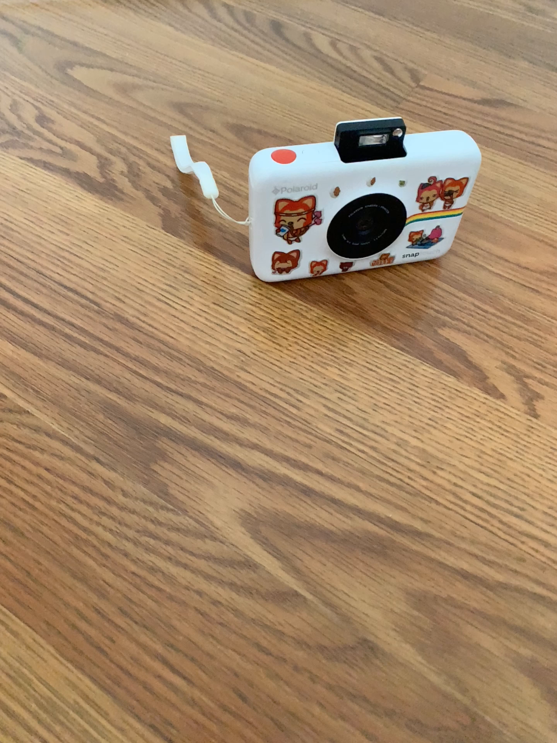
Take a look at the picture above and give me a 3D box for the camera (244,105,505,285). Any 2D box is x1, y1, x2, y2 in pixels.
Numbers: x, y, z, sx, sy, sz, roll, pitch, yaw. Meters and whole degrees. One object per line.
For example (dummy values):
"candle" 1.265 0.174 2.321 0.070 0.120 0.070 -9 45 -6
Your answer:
"camera" 0.046 -0.094 0.314 0.125 0.081 0.026 -10 56 -8
